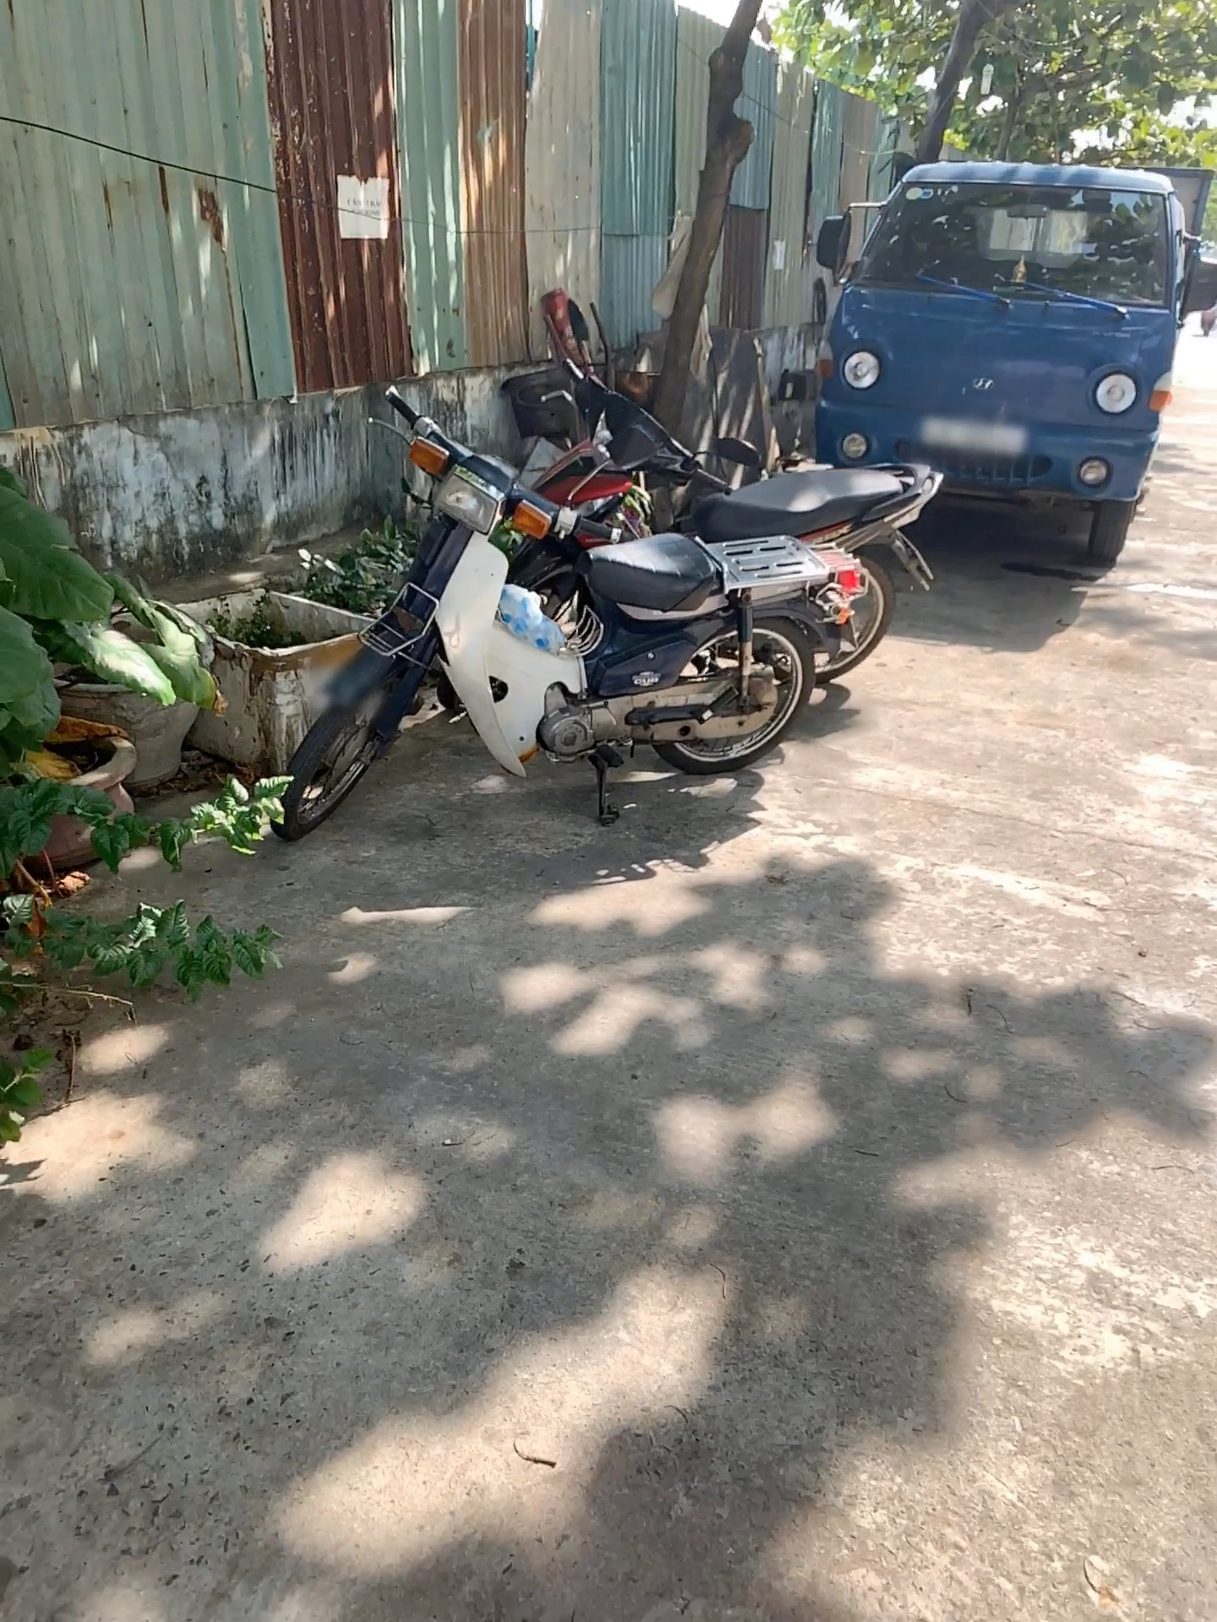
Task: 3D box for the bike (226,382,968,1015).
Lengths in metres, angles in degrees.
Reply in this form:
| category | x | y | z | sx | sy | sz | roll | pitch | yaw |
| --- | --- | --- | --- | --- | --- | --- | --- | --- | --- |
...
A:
| category | x | y | z | sx | sy | sz | roll | pitch | yaw |
| --- | --- | --- | --- | --- | --- | --- | --- | --- | --- |
| bike | -0.012 | -0.362 | 2.895 | 1.477 | 1.024 | 0.655 | -15 | 29 | -29 |
